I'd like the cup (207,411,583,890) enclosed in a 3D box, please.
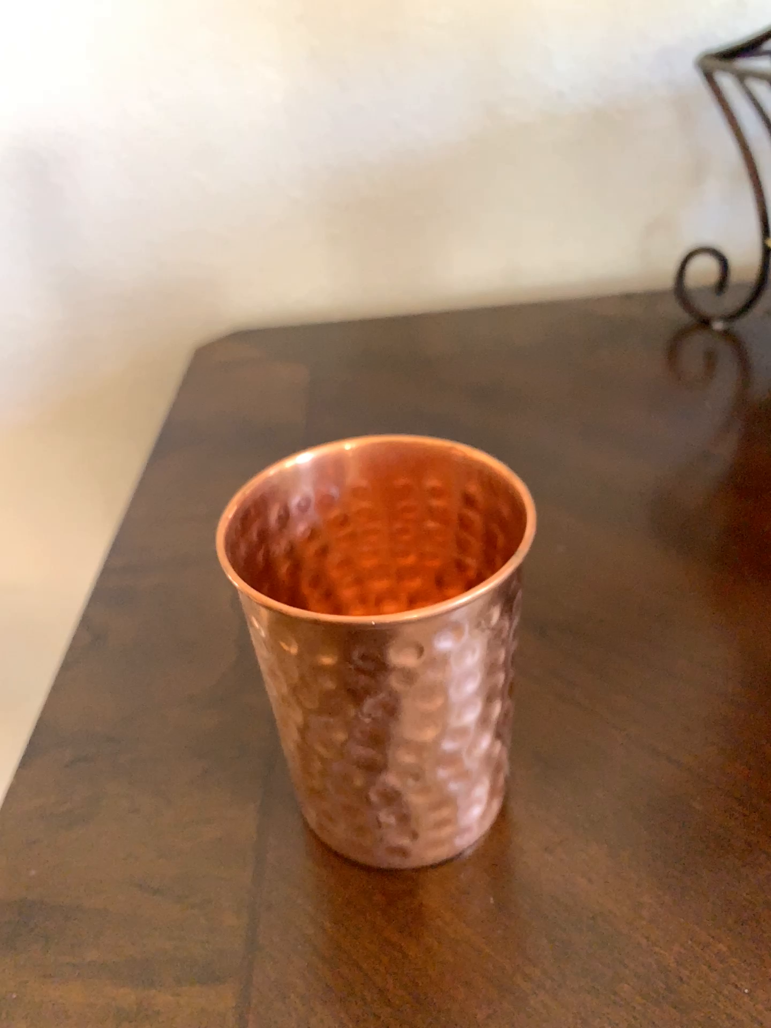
[{"bbox_3d":[0.000,0.031,0.200,0.070,0.082,0.066,-3,33,2],"label":"cup"}]
